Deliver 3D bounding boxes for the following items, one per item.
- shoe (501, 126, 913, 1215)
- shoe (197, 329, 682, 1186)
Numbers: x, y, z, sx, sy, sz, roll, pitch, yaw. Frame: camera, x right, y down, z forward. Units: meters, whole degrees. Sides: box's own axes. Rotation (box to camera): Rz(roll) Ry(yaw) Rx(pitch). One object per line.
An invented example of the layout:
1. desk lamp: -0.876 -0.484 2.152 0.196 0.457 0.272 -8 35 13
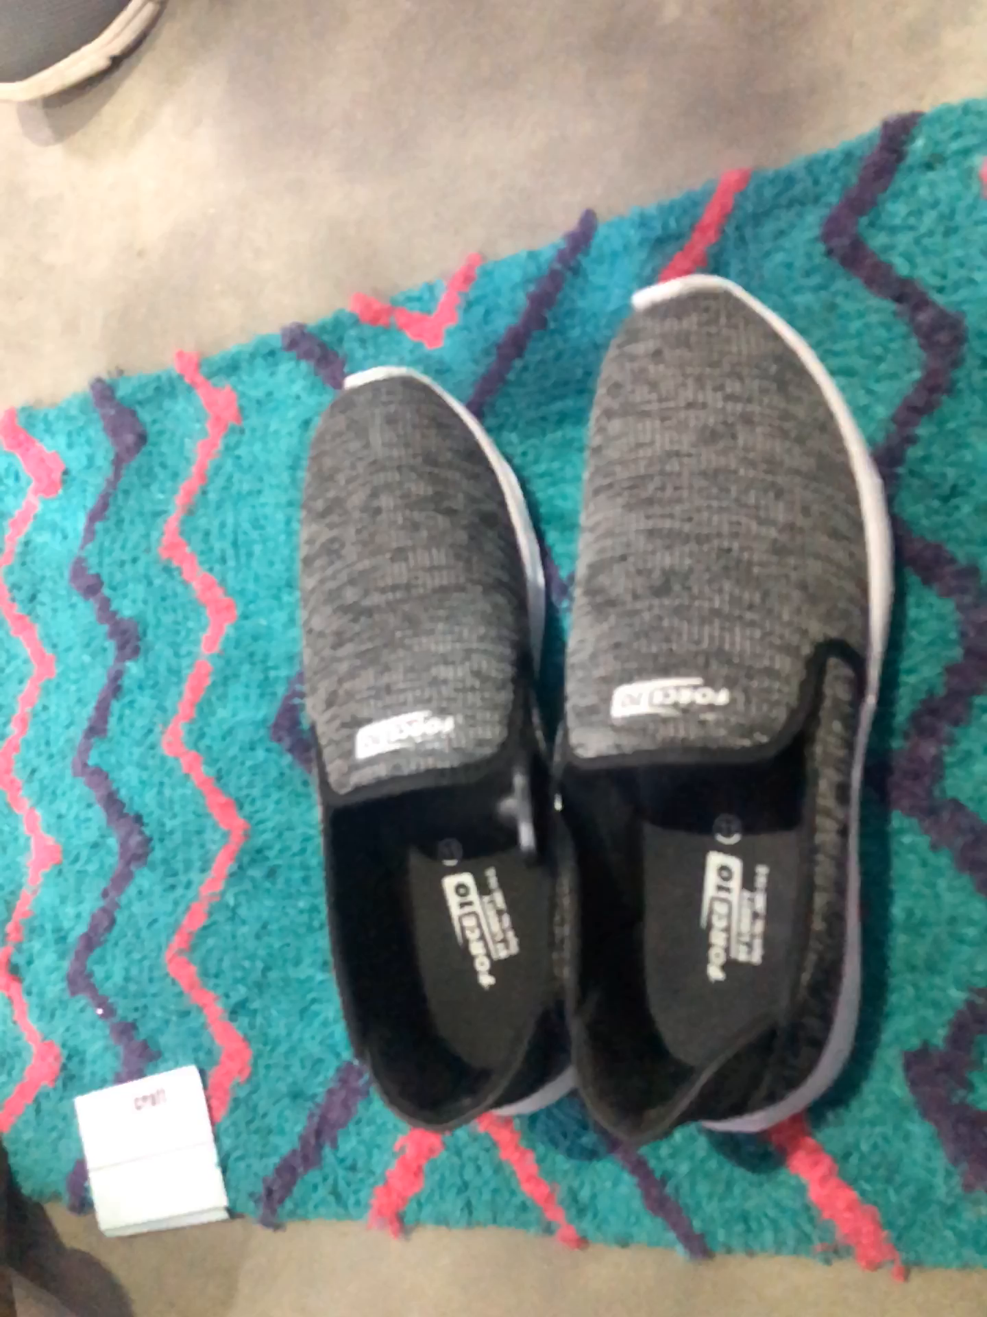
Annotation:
1. shoe: 0.078 0.002 0.392 0.110 0.100 0.330 -5 82 26
2. shoe: -0.024 0.038 0.444 0.110 0.100 0.300 -17 77 24
